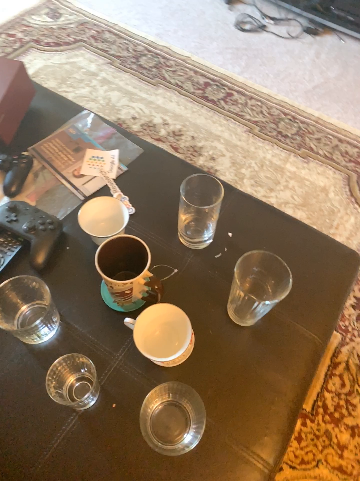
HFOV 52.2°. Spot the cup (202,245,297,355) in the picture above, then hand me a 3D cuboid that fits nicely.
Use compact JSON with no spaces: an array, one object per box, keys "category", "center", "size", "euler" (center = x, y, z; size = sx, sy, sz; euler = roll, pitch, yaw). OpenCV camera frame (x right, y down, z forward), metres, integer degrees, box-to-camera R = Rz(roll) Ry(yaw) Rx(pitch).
[{"category":"cup","center":[0.110,0.109,0.625],"size":[0.090,0.189,0.090],"euler":[3,59,-4]}]

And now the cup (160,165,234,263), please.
[{"category":"cup","center":[0.028,-0.045,0.686],"size":[0.090,0.140,0.090],"euler":[2,59,-4]}]

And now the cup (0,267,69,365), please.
[{"category":"cup","center":[-0.254,0.124,0.593],"size":[0.090,0.120,0.090],"euler":[2,59,-4]}]

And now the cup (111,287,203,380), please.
[{"category":"cup","center":[-0.036,0.149,0.587],"size":[0.110,0.070,0.090],"euler":[23,60,8]}]

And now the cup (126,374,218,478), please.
[{"category":"cup","center":[-0.014,0.272,0.539],"size":[0.090,0.120,0.090],"euler":[2,59,-4]}]

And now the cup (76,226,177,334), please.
[{"category":"cup","center":[-0.088,0.071,0.630],"size":[0.130,0.120,0.090],"euler":[30,61,12]}]

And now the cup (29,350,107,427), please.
[{"category":"cup","center":[-0.161,0.222,0.547],"size":[0.070,0.100,0.070],"euler":[2,59,-4]}]

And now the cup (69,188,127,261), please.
[{"category":"cup","center":[-0.151,-0.029,0.699],"size":[0.090,0.080,0.110],"euler":[1,59,-5]}]
